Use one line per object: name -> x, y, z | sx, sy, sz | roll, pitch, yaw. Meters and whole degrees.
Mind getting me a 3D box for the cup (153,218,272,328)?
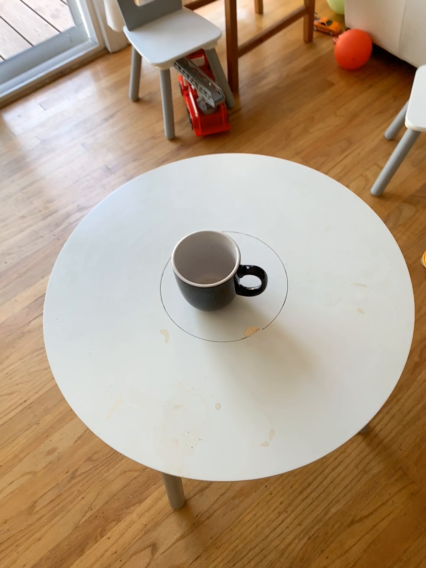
cup -> 0.004, -0.016, 0.641 | 0.140, 0.090, 0.100 | 14, 62, 13
